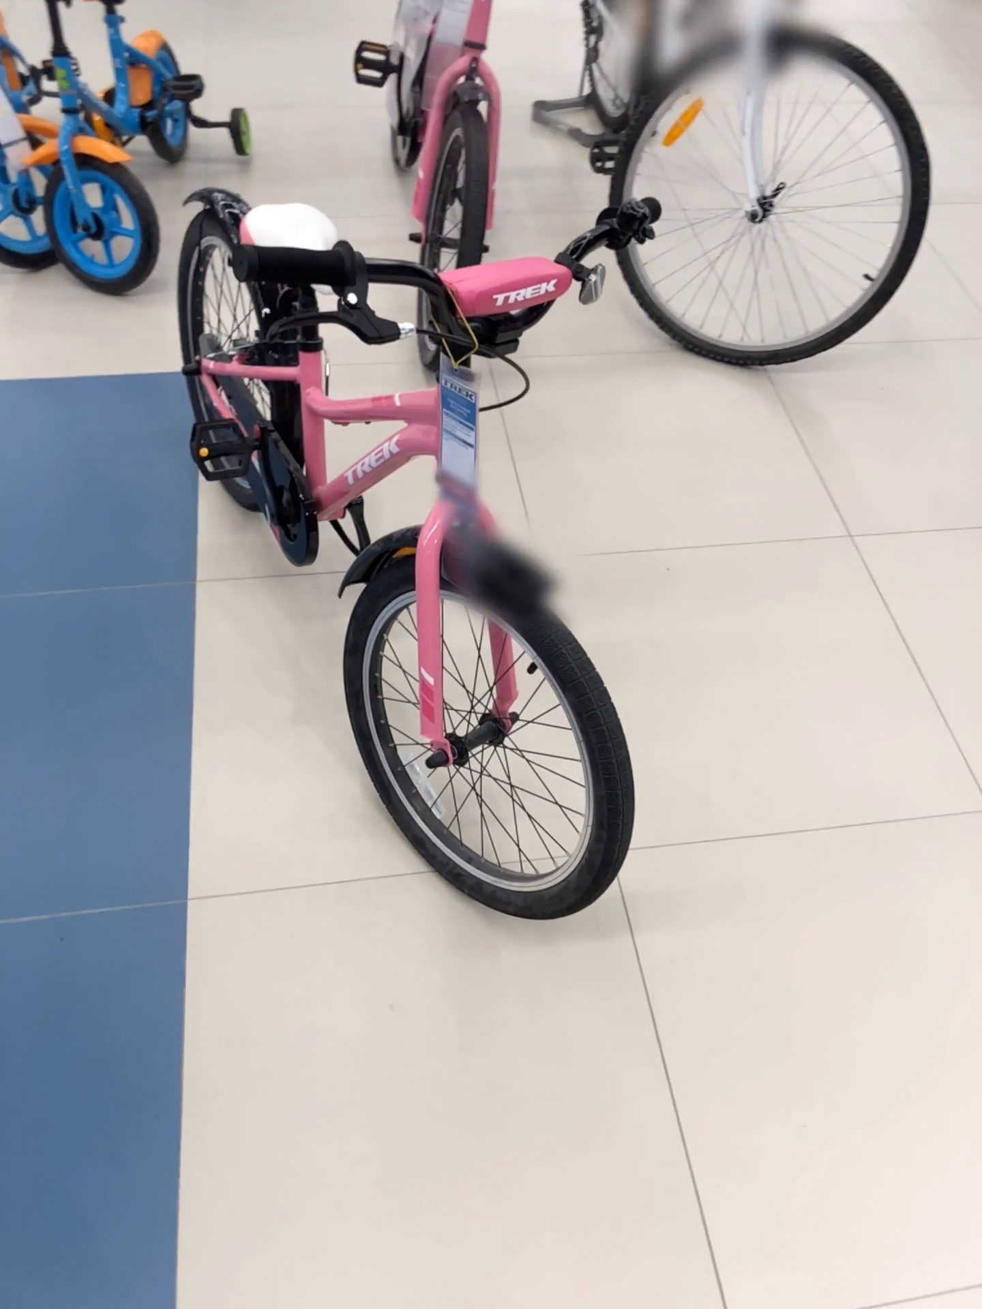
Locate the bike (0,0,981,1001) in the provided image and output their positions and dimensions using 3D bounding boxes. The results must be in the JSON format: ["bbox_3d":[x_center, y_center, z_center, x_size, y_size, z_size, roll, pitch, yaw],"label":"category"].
[{"bbox_3d":[-0.153,-0.371,1.403,0.556,0.835,1.301,-23,50,-23],"label":"bike"}]
